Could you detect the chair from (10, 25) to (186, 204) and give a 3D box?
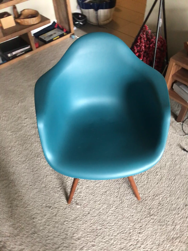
[{"bbox_3d":[0.011,0.003,1.129,0.570,0.844,0.483,-6,48,-2],"label":"chair"}]
